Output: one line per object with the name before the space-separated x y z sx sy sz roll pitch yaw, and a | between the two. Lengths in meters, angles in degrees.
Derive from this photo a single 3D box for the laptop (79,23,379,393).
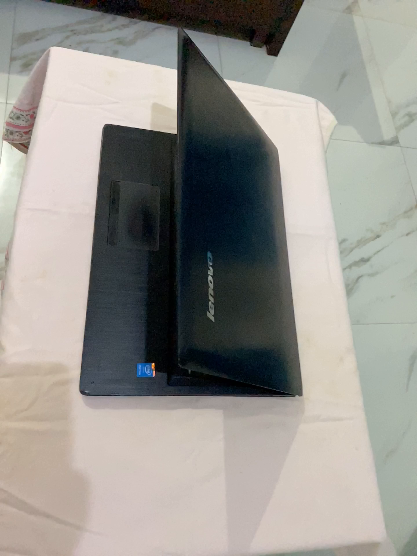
laptop | -0.001 -0.065 0.499 0.258 0.176 0.369 4 68 -13
